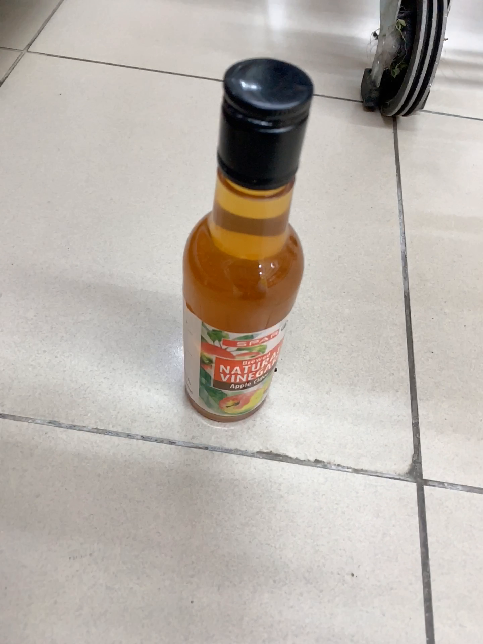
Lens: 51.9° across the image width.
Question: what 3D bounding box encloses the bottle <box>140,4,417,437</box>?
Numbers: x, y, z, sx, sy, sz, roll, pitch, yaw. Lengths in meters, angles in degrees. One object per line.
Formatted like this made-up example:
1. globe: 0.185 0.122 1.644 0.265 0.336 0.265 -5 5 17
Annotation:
1. bottle: 0.001 -0.020 0.243 0.070 0.220 0.060 -11 58 -12
